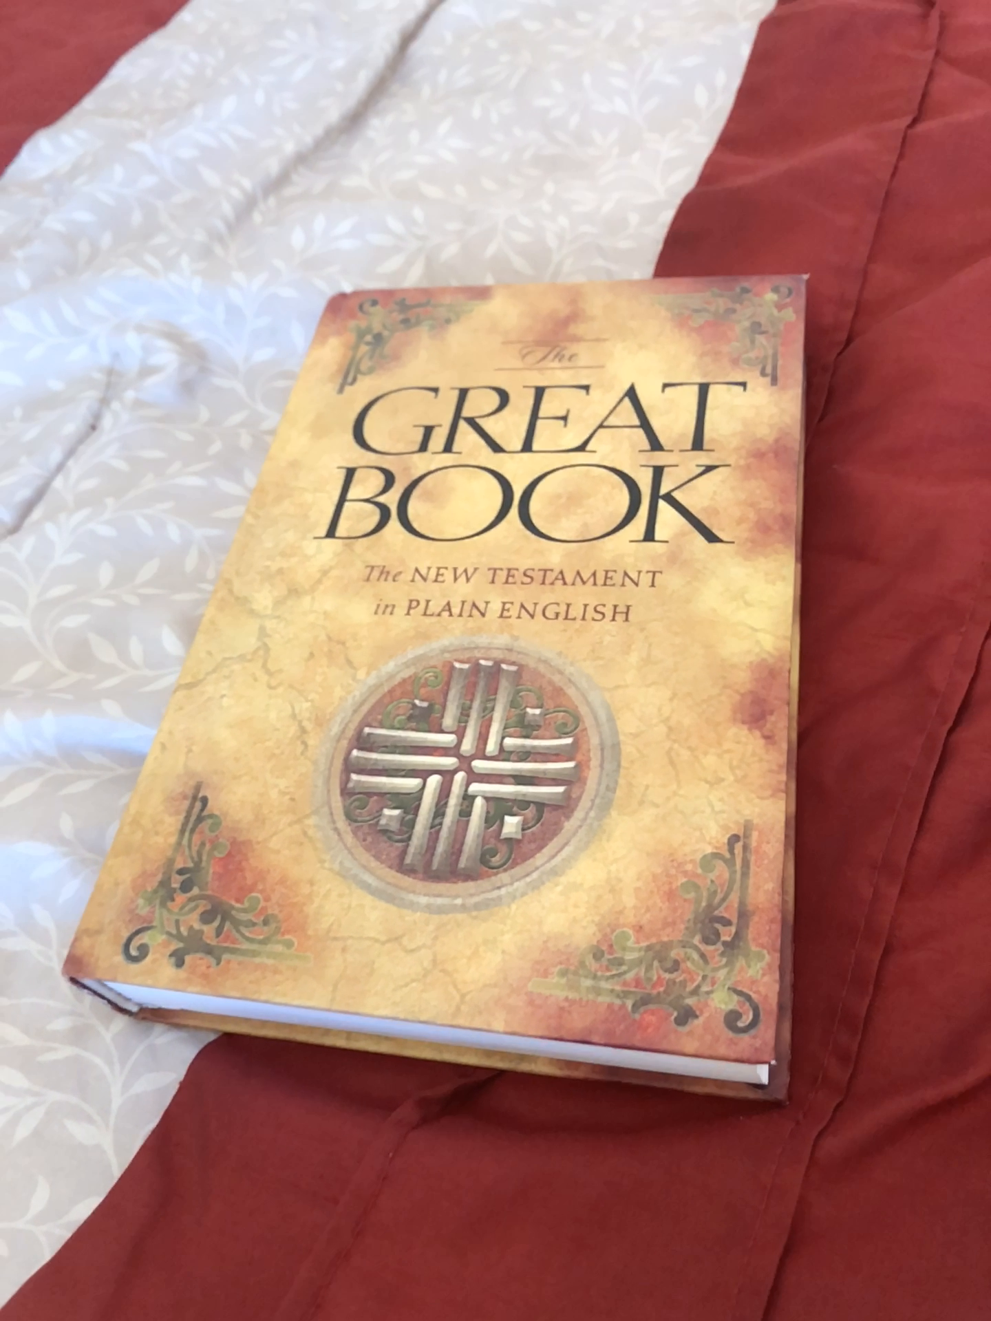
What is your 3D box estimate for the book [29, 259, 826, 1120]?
[{"bbox_3d":[0.000,-0.012,0.289,0.161,0.040,0.221,2,57,16],"label":"book"}]
